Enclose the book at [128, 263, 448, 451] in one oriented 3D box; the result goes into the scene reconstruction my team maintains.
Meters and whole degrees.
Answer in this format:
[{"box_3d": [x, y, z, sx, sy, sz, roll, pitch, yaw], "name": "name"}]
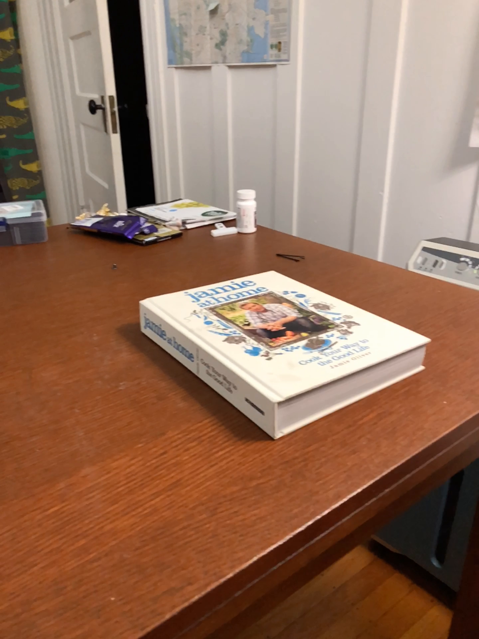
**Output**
[{"box_3d": [0.037, 0.013, 0.550, 0.210, 0.040, 0.261, -17, 29, -31], "name": "book"}]
